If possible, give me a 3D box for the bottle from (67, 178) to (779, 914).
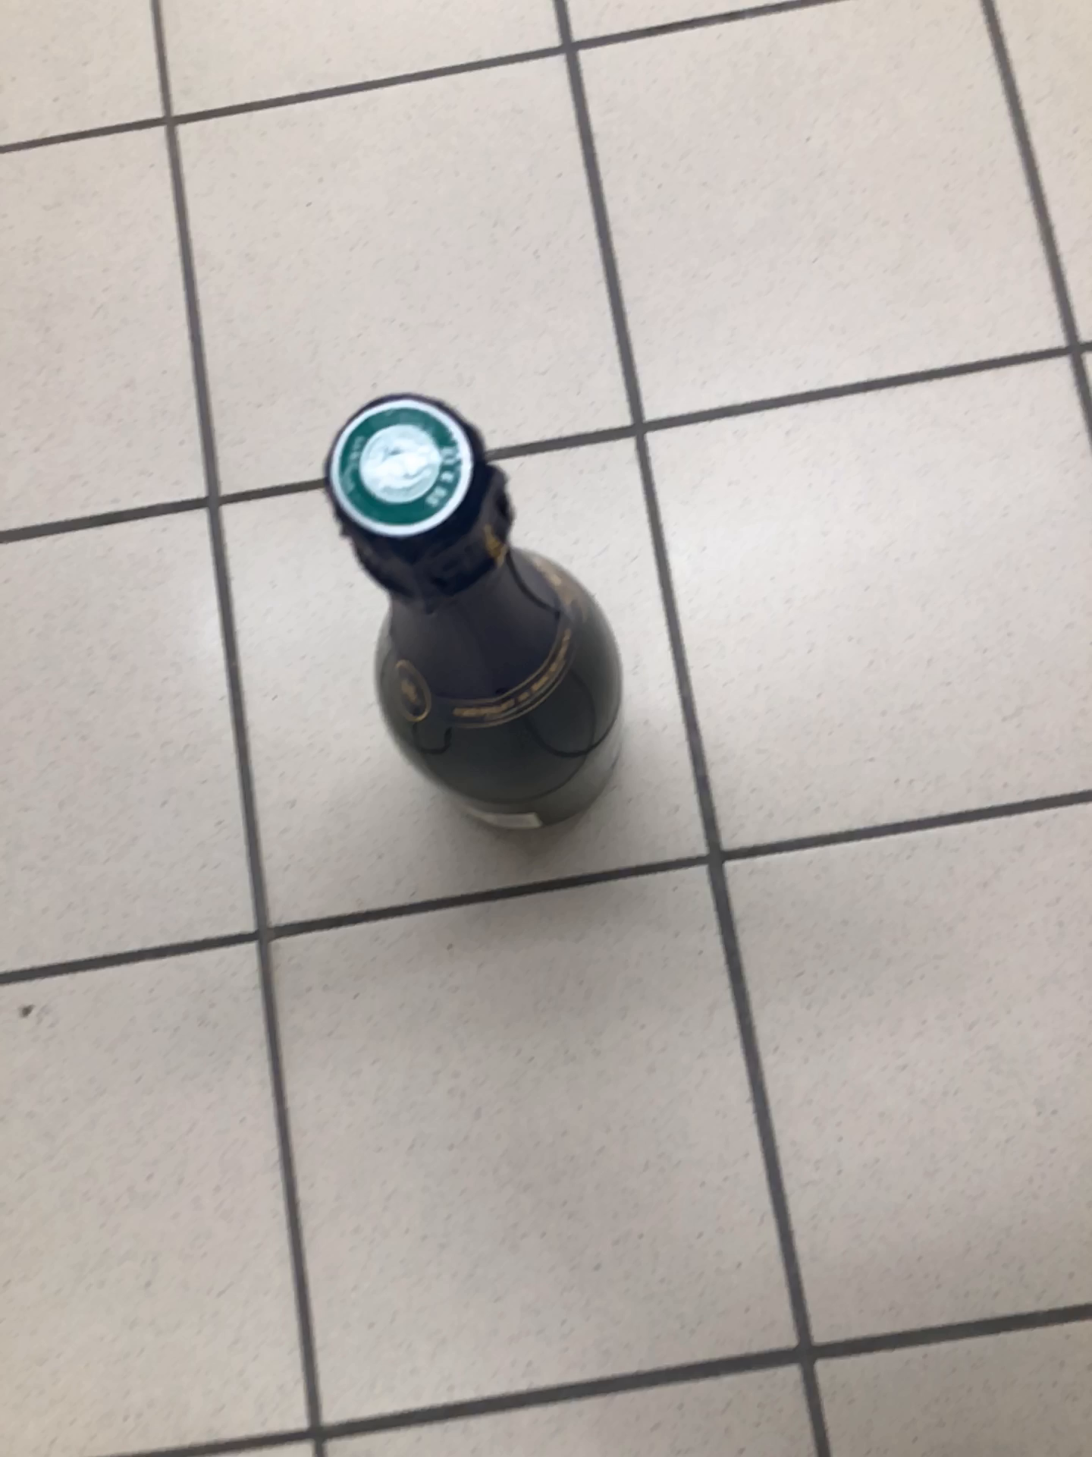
[{"bbox_3d":[-0.017,-0.016,0.385,0.100,0.310,0.100,-1,79,3],"label":"bottle"}]
